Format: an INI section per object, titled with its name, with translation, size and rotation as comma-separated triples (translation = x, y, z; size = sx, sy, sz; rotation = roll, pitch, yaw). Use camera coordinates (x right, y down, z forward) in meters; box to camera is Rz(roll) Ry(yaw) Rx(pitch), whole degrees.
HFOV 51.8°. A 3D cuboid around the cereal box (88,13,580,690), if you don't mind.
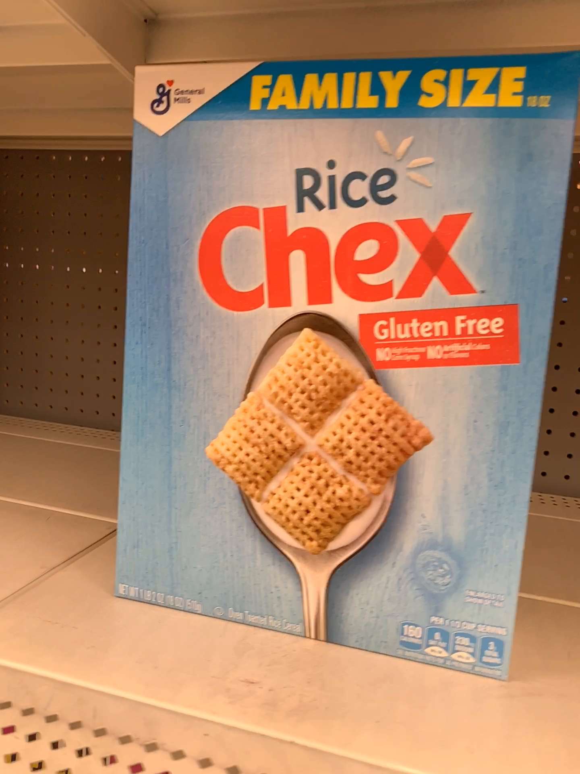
[cereal box]
translation = 0.016, -0.023, 0.353
size = 0.250, 0.319, 0.080
rotation = 6, 8, 16
